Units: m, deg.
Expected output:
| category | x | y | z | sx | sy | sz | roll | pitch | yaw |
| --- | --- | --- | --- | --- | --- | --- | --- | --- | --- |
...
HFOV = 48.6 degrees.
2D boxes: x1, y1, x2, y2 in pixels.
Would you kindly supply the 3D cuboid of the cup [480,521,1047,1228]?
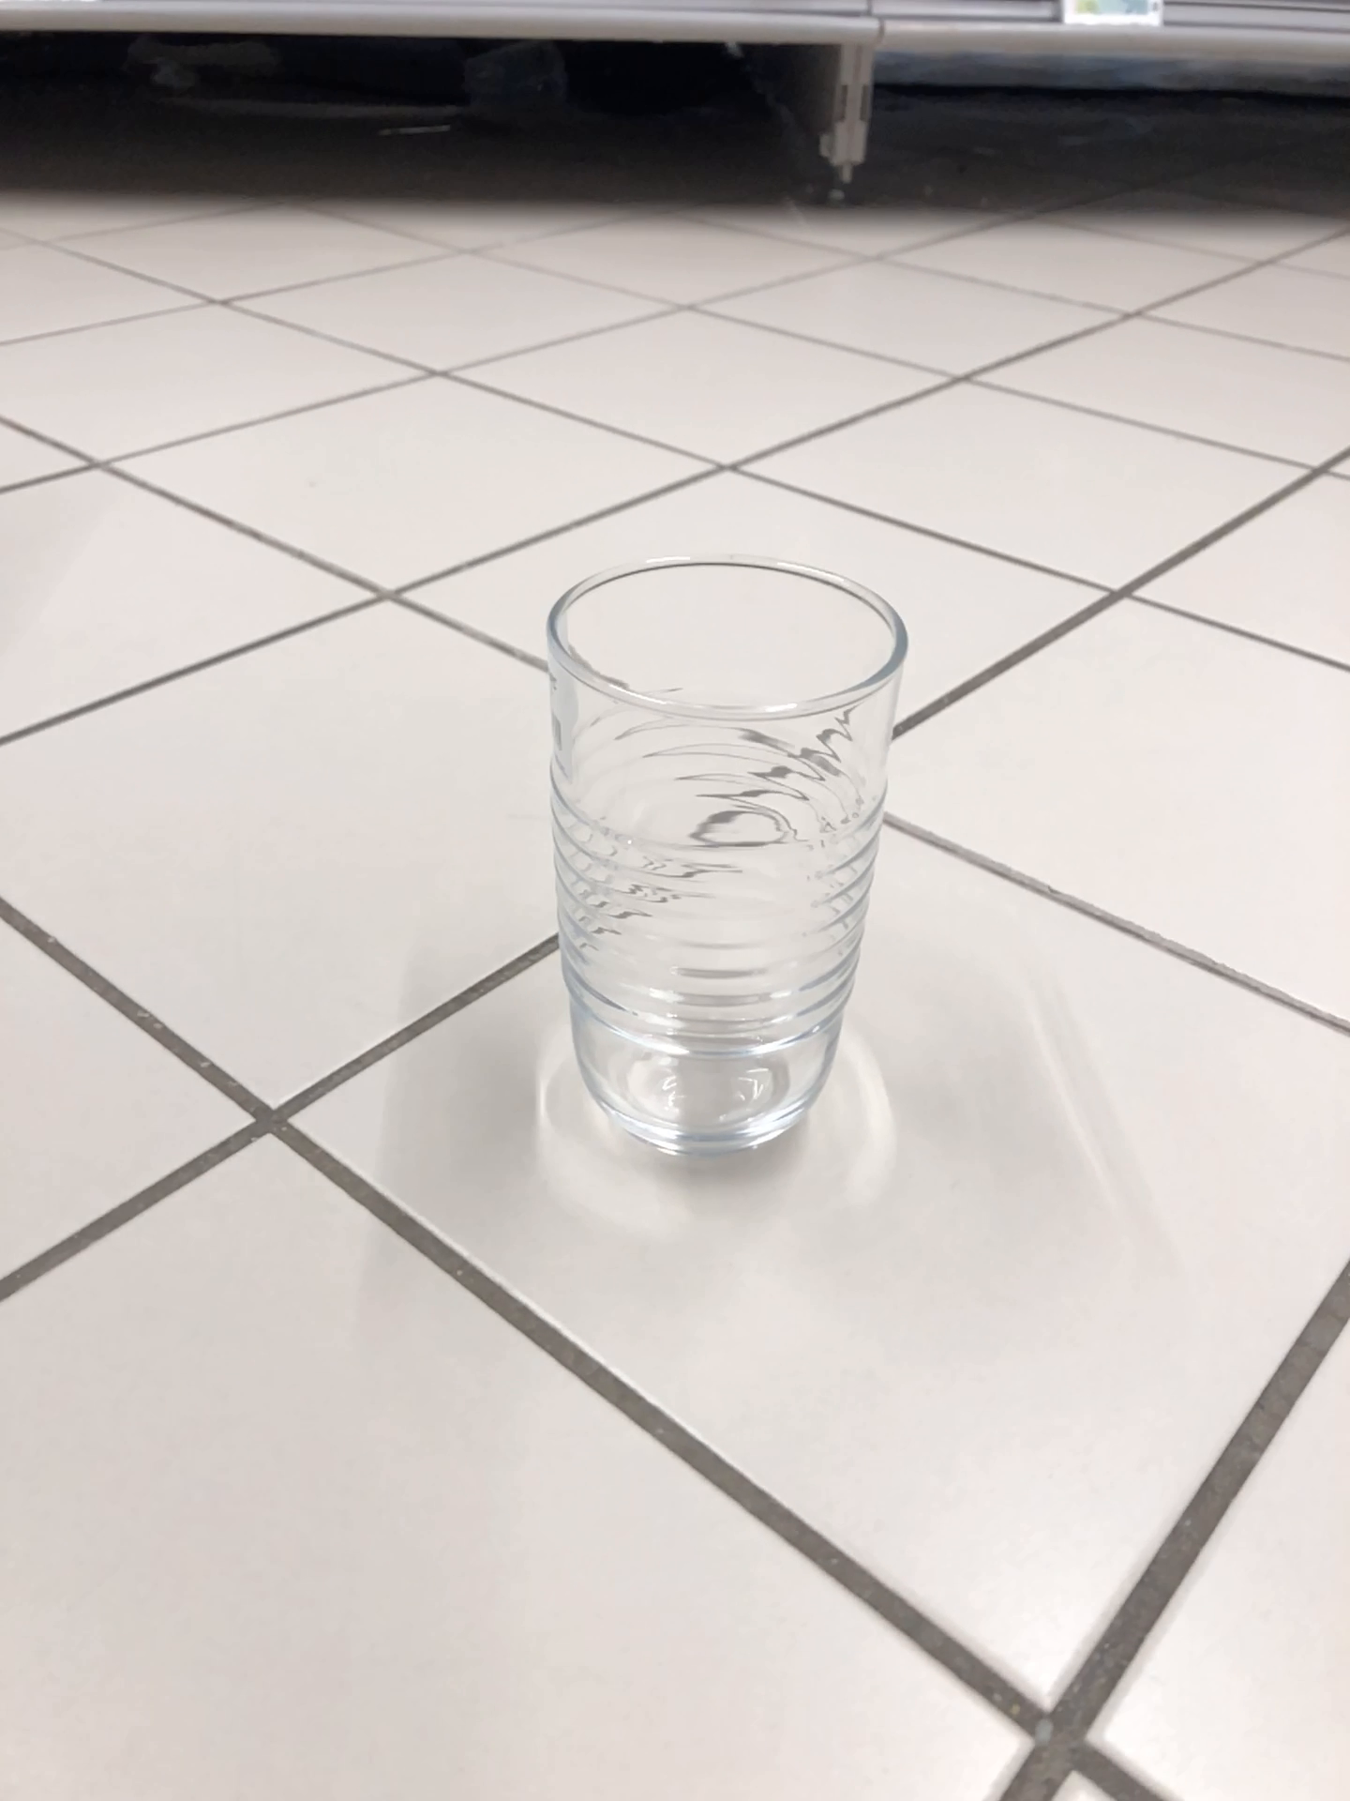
| category | x | y | z | sx | sy | sz | roll | pitch | yaw |
| --- | --- | --- | --- | --- | --- | --- | --- | --- | --- |
| cup | 0.012 | -0.009 | 0.306 | 0.077 | 0.104 | 0.079 | 1 | 35 | -1 |
